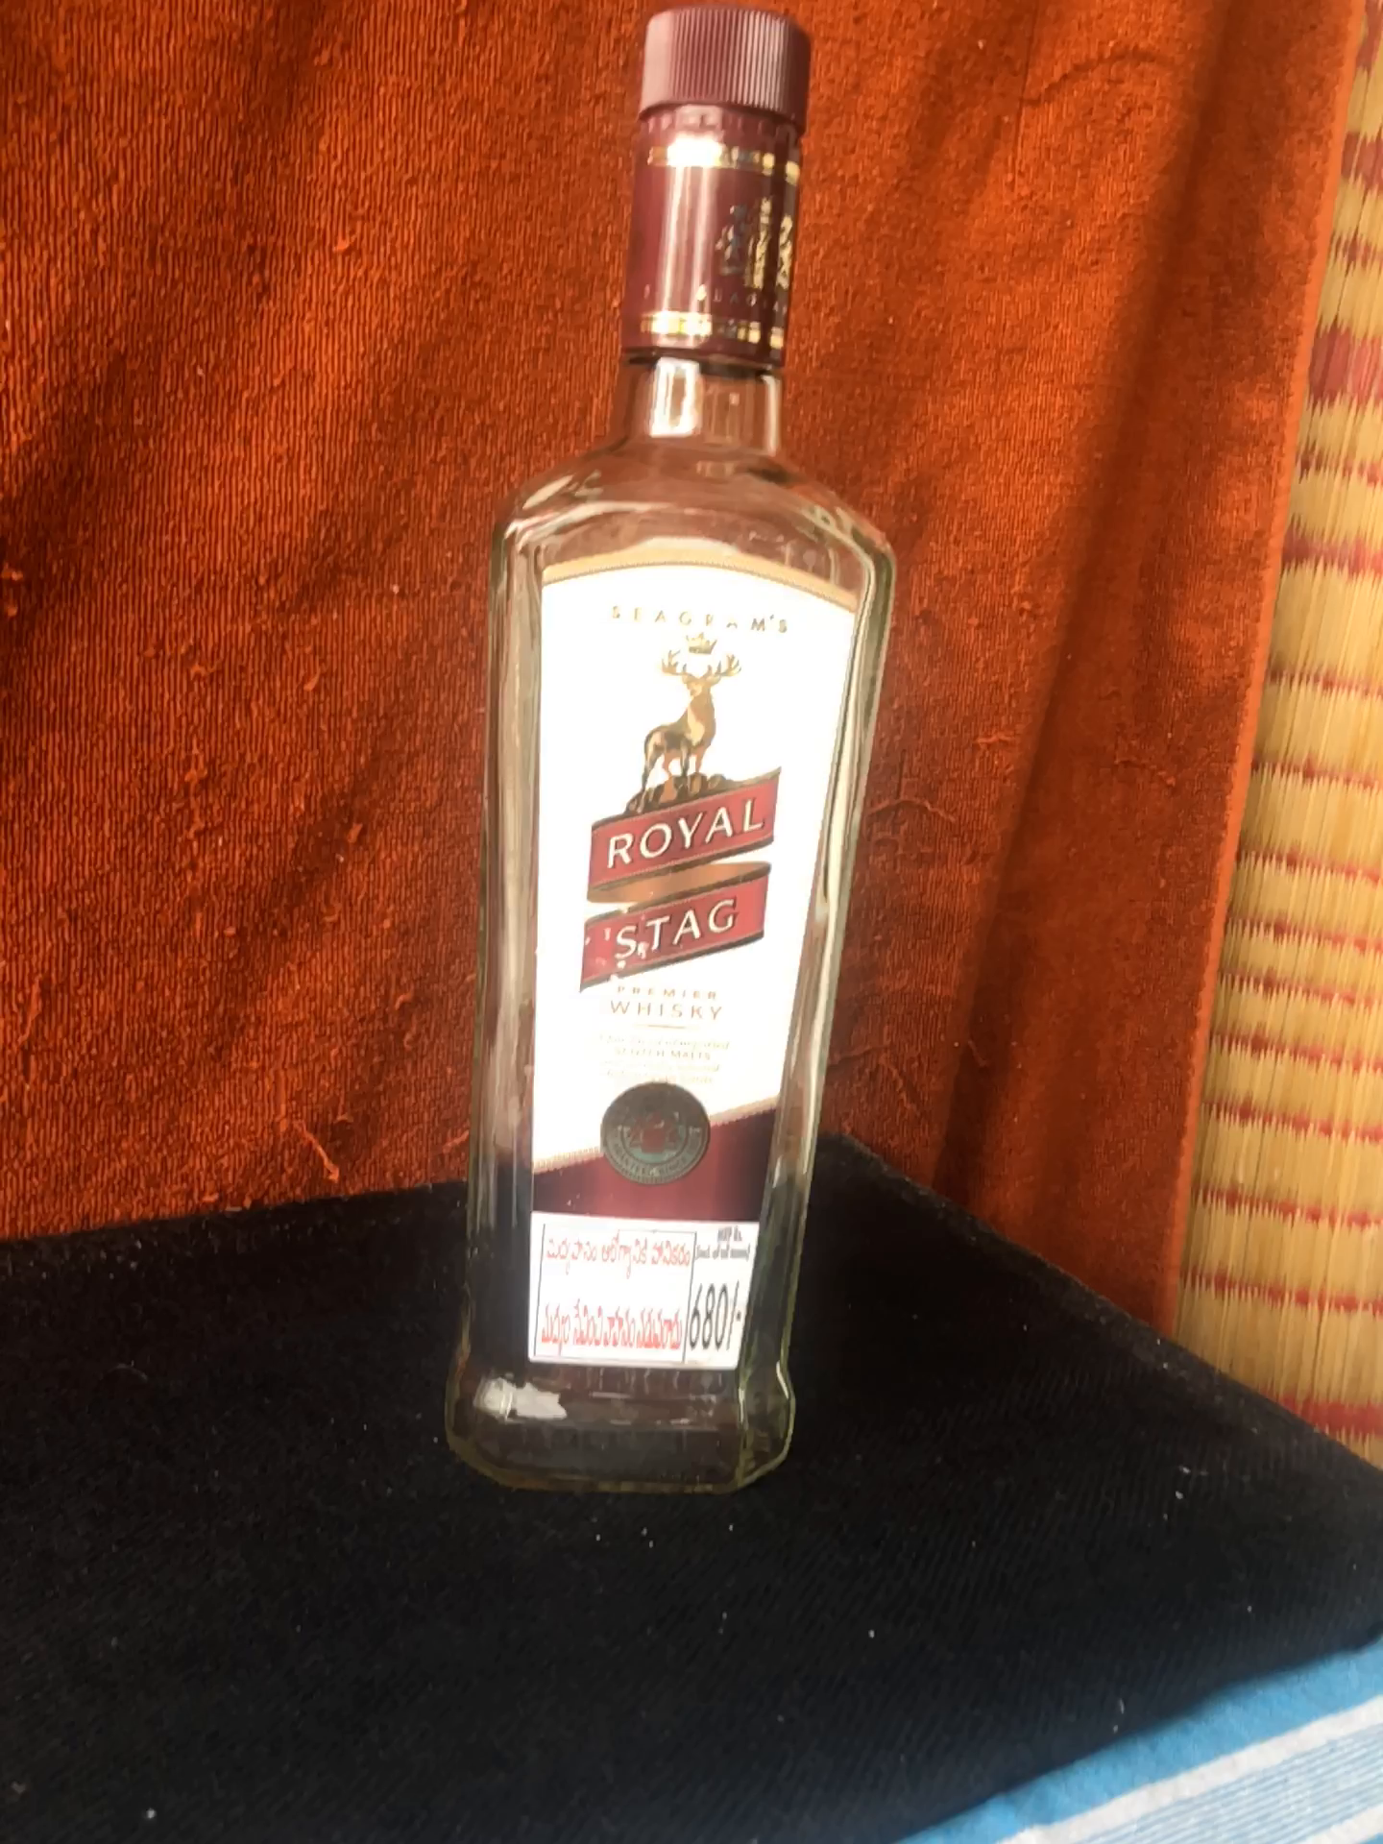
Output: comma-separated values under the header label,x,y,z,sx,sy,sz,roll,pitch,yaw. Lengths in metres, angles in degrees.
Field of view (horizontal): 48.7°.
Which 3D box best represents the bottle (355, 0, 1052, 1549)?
label,x,y,z,sx,sy,sz,roll,pitch,yaw
bottle,-0.008,-0.020,0.307,0.090,0.289,0.060,5,14,-10
